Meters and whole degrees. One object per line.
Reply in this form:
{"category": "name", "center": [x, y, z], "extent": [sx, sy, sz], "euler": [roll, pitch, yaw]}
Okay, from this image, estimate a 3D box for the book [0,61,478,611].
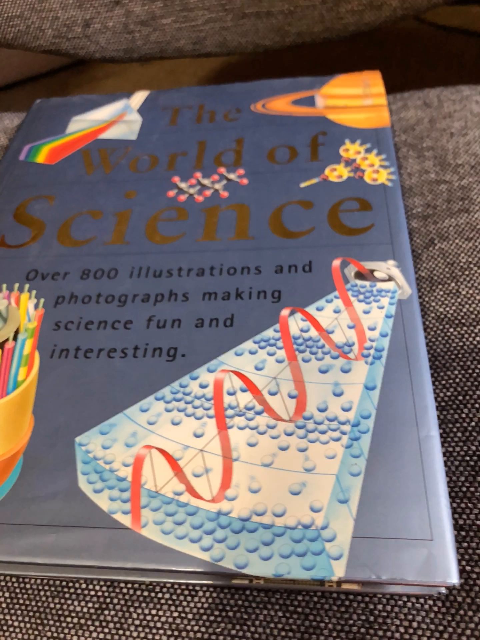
{"category": "book", "center": [-0.037, -0.026, 0.253], "extent": [0.220, 0.030, 0.277], "euler": [-2, 53, 7]}
